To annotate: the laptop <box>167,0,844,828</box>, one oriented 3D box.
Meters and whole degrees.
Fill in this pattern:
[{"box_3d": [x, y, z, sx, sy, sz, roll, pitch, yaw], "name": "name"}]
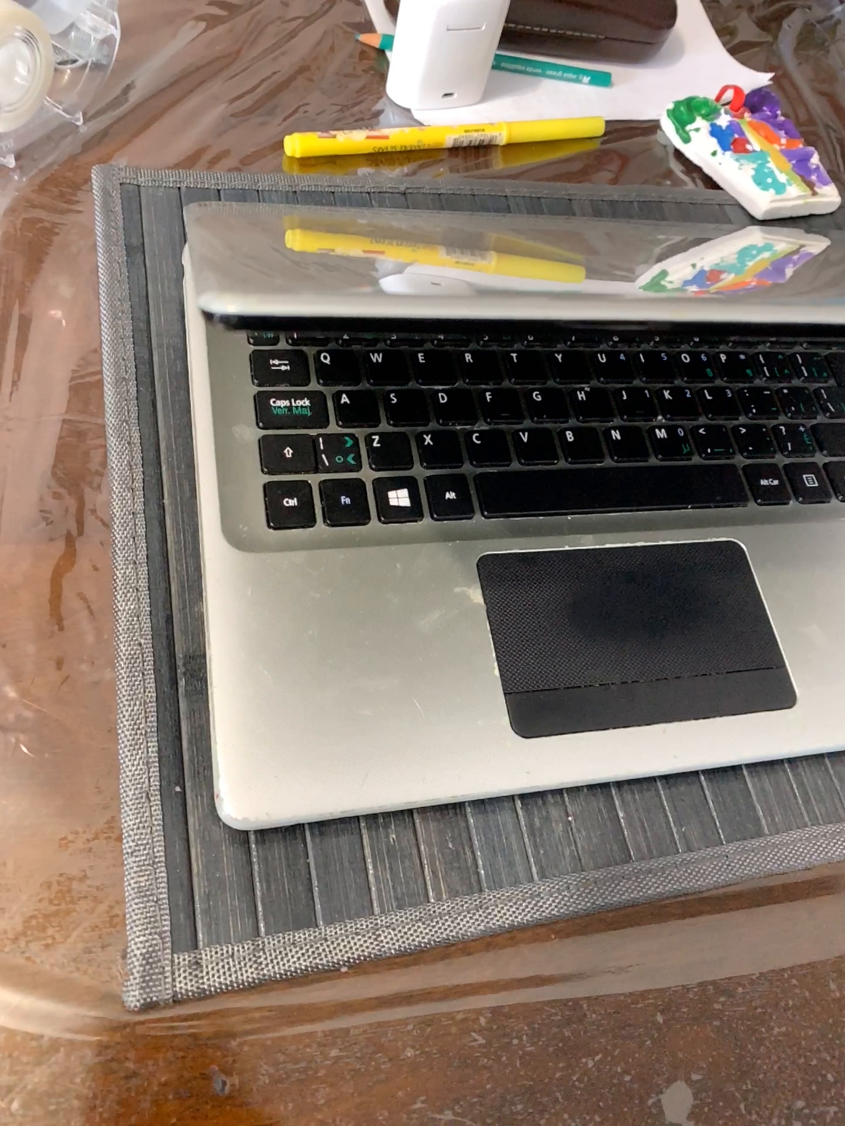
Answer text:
[{"box_3d": [0.104, -0.068, 0.280, 0.344, 0.141, 0.225, -3, 64, -15], "name": "laptop"}]
